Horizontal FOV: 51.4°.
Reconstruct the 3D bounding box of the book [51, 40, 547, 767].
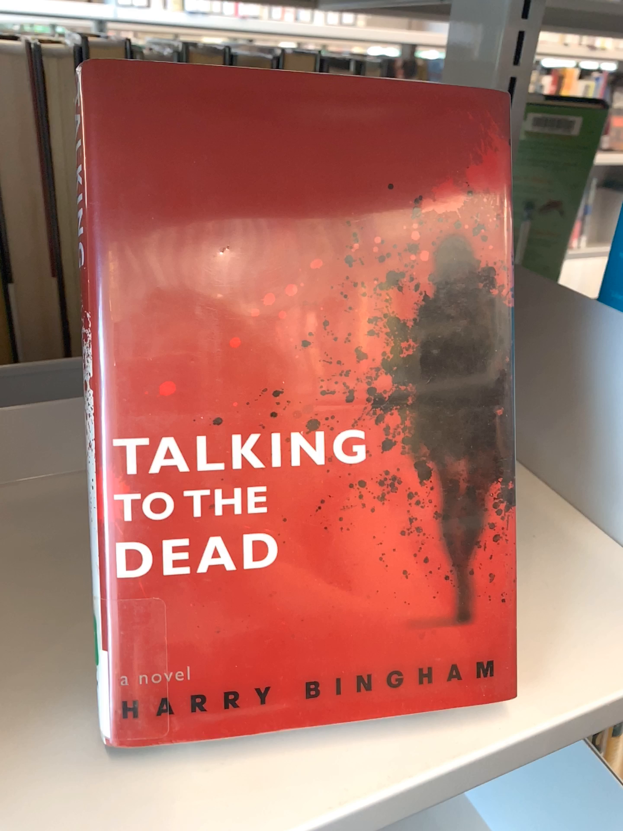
[{"bbox_3d":[-0.001,-0.006,0.241,0.164,0.231,0.040,-2,2,-11],"label":"book"}]
